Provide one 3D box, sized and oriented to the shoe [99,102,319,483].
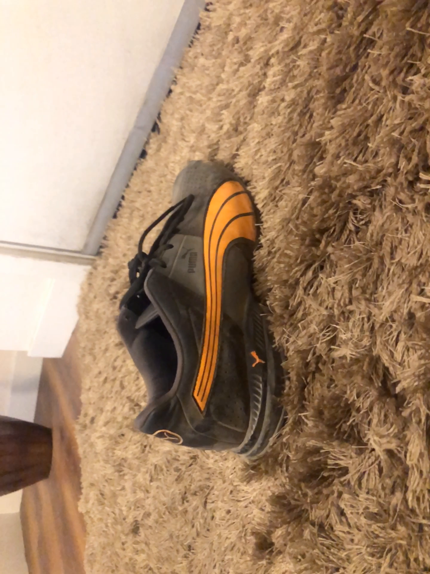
[{"bbox_3d":[-0.027,0.000,0.425,0.123,0.109,0.300,-47,44,47],"label":"shoe"}]
